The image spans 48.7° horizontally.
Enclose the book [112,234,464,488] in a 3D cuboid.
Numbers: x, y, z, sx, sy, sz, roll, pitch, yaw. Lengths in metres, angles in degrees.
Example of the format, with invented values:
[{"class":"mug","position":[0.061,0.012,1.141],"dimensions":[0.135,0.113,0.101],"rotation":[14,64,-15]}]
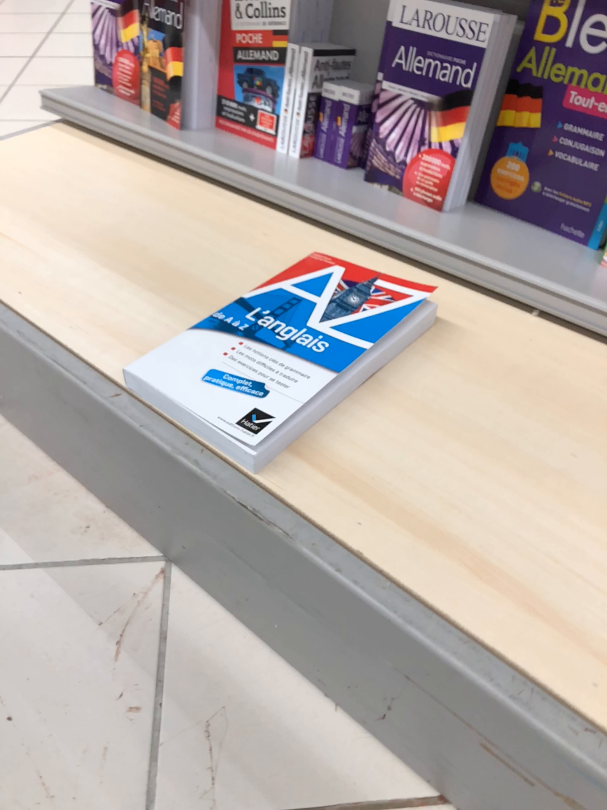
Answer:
[{"class":"book","position":[-0.003,-0.050,0.509],"dimensions":[0.143,0.030,0.236],"rotation":[30,49,28]}]
